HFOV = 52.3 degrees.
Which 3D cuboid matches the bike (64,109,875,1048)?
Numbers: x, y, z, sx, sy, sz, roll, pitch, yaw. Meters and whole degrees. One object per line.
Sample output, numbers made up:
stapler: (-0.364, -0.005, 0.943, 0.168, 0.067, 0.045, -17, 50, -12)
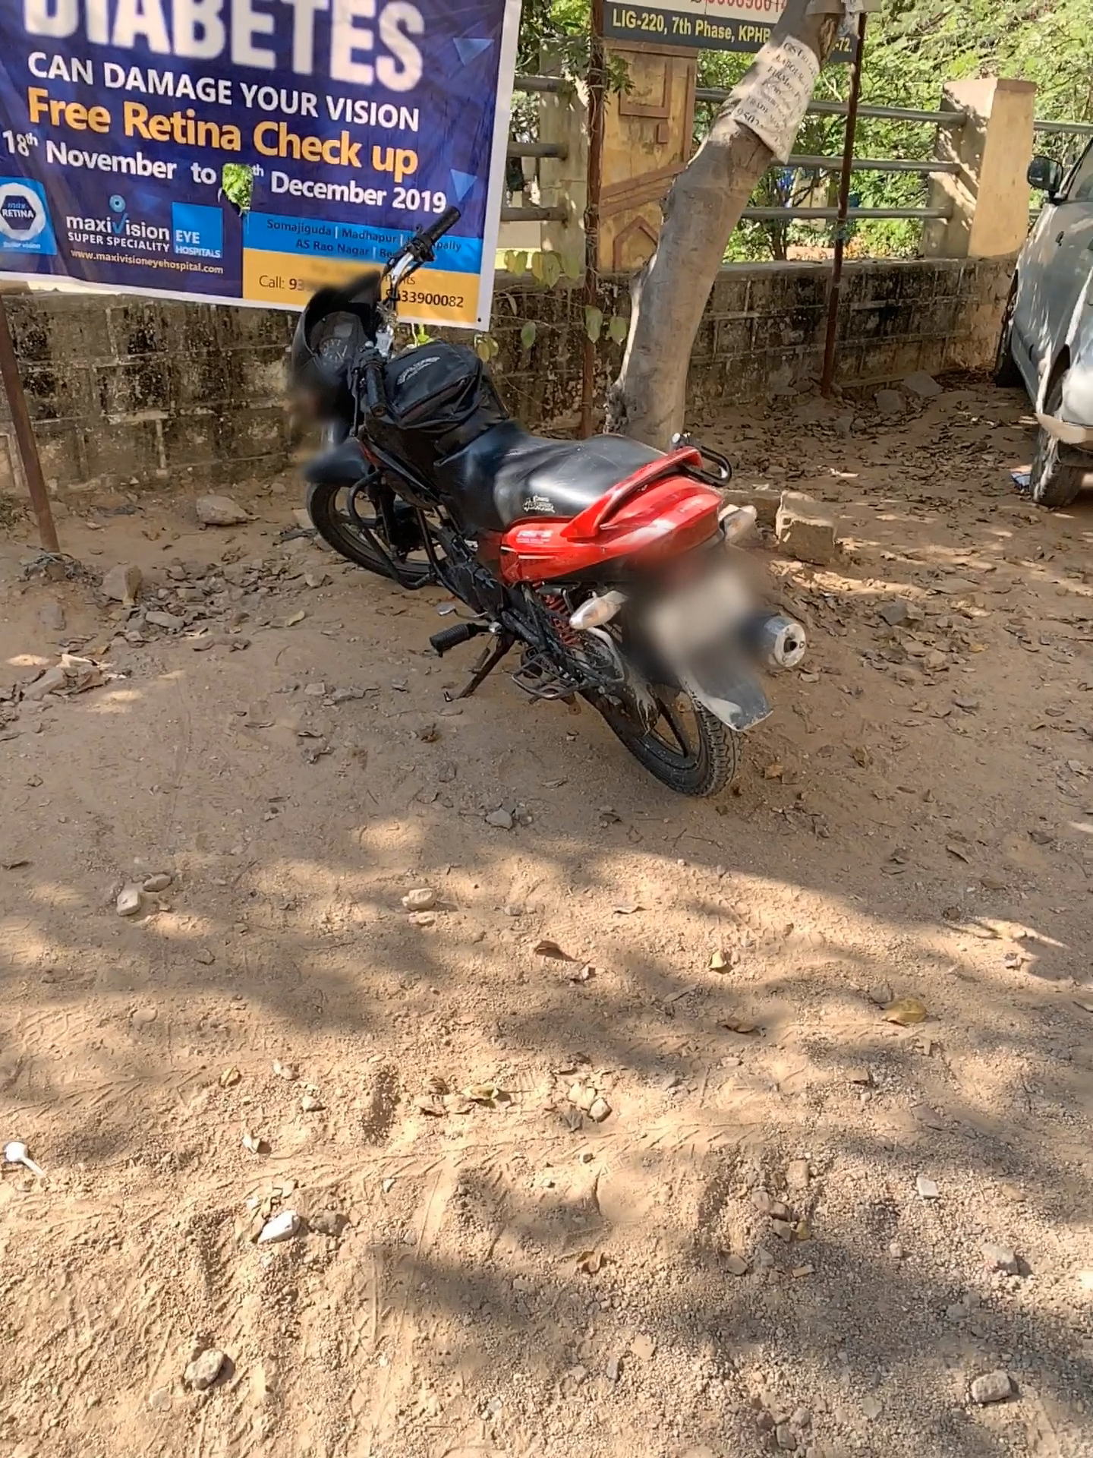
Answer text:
bike: (-0.269, -0.492, 2.536, 0.753, 1.442, 1.619, -19, 36, -36)
